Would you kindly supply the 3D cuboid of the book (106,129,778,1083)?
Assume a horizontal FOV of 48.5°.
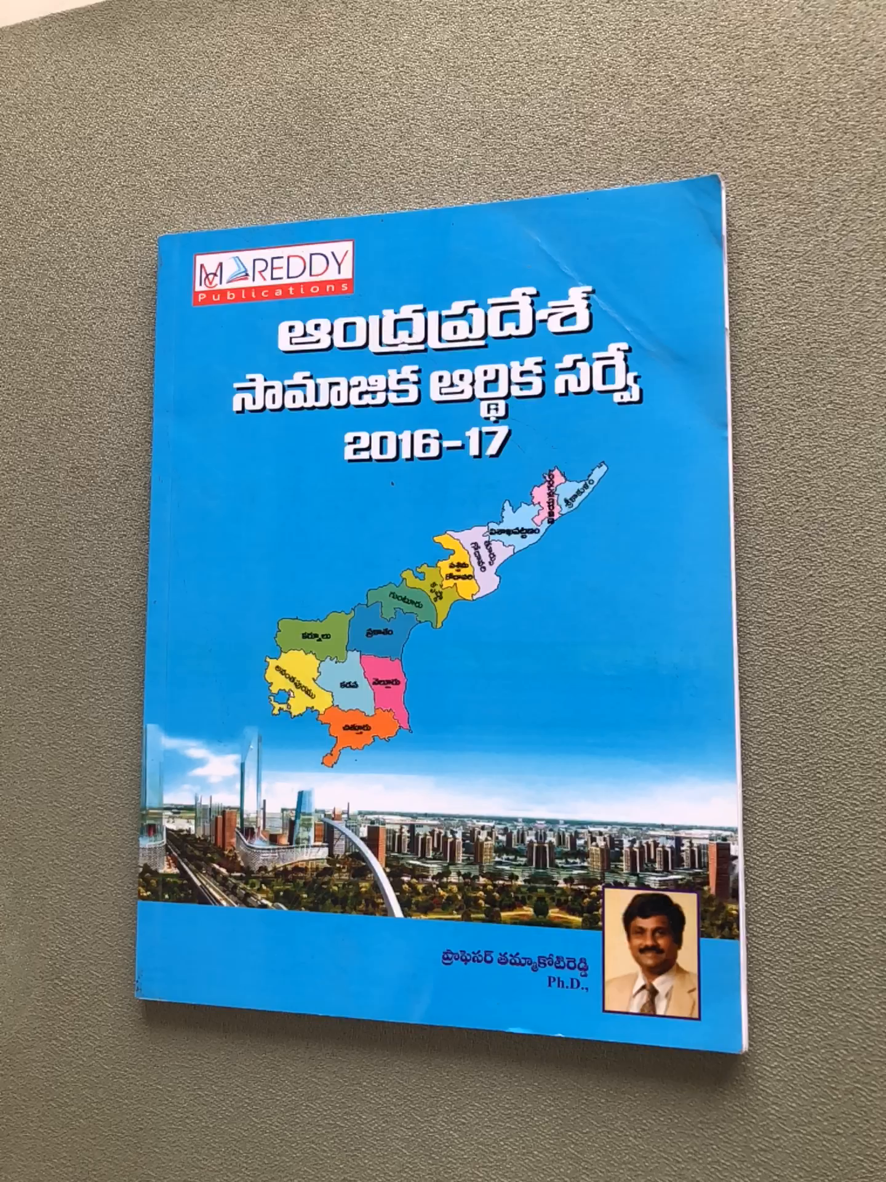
[{"bbox_3d":[-0.004,0.001,0.277,0.180,0.020,0.240,-1,85,13],"label":"book"}]
